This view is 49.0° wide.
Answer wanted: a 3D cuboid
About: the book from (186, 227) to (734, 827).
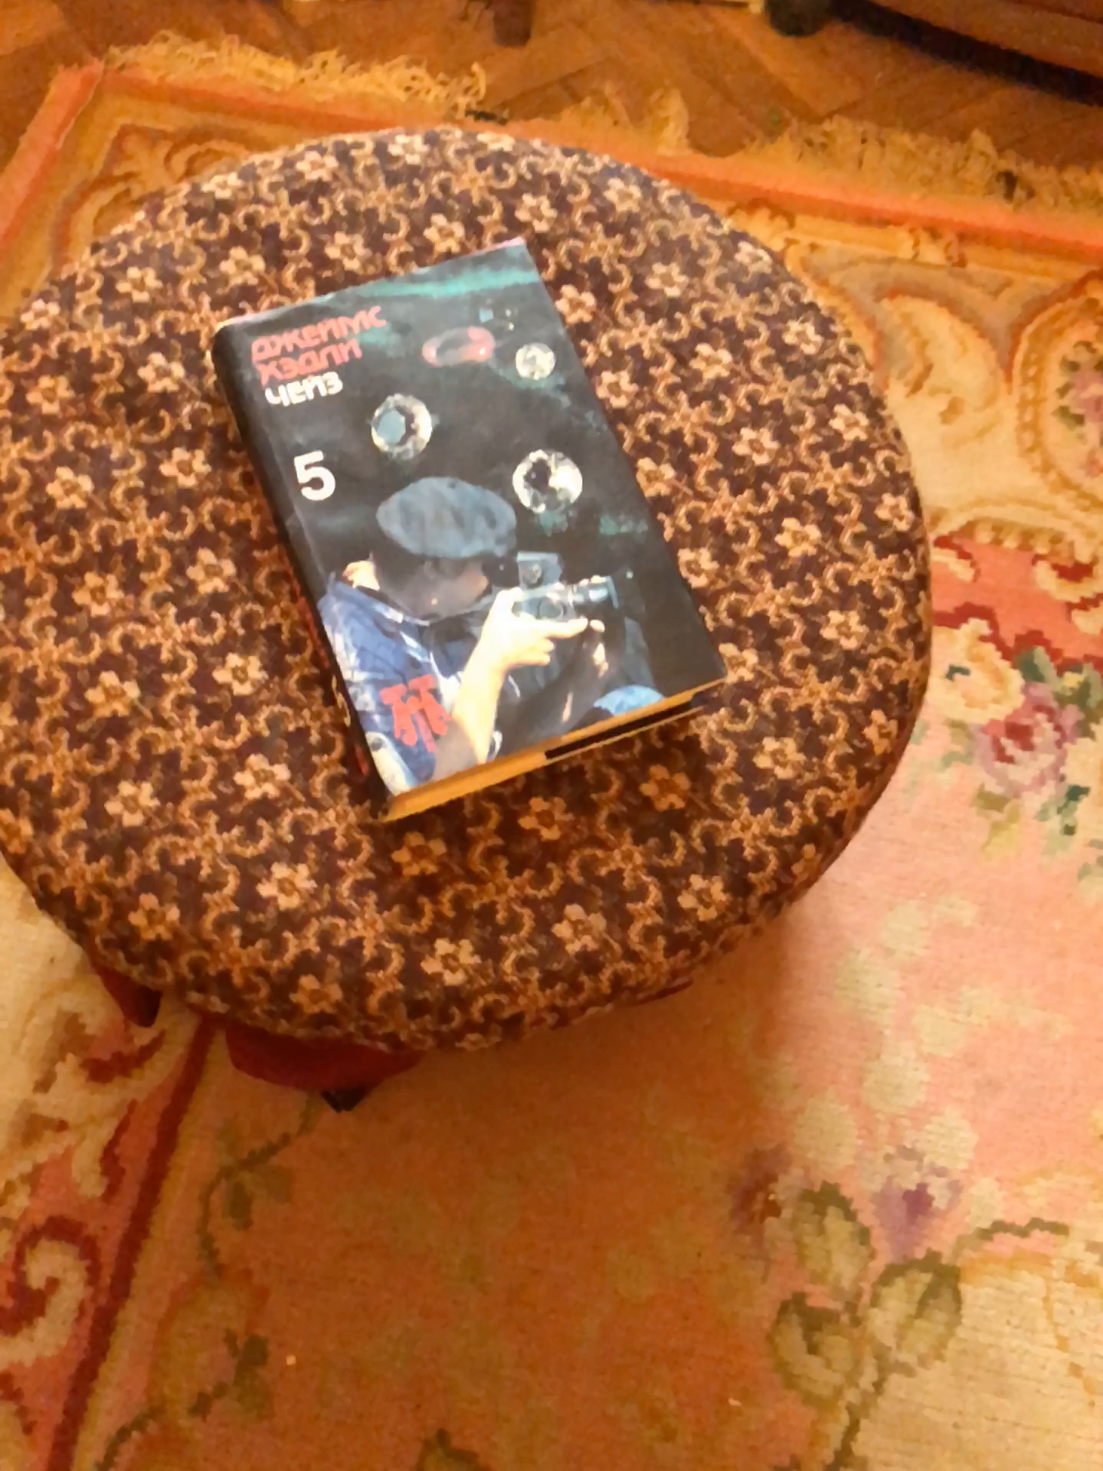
[{"bbox_3d":[-0.037,-0.085,0.454,0.140,0.020,0.205,-18,76,-11],"label":"book"}]
